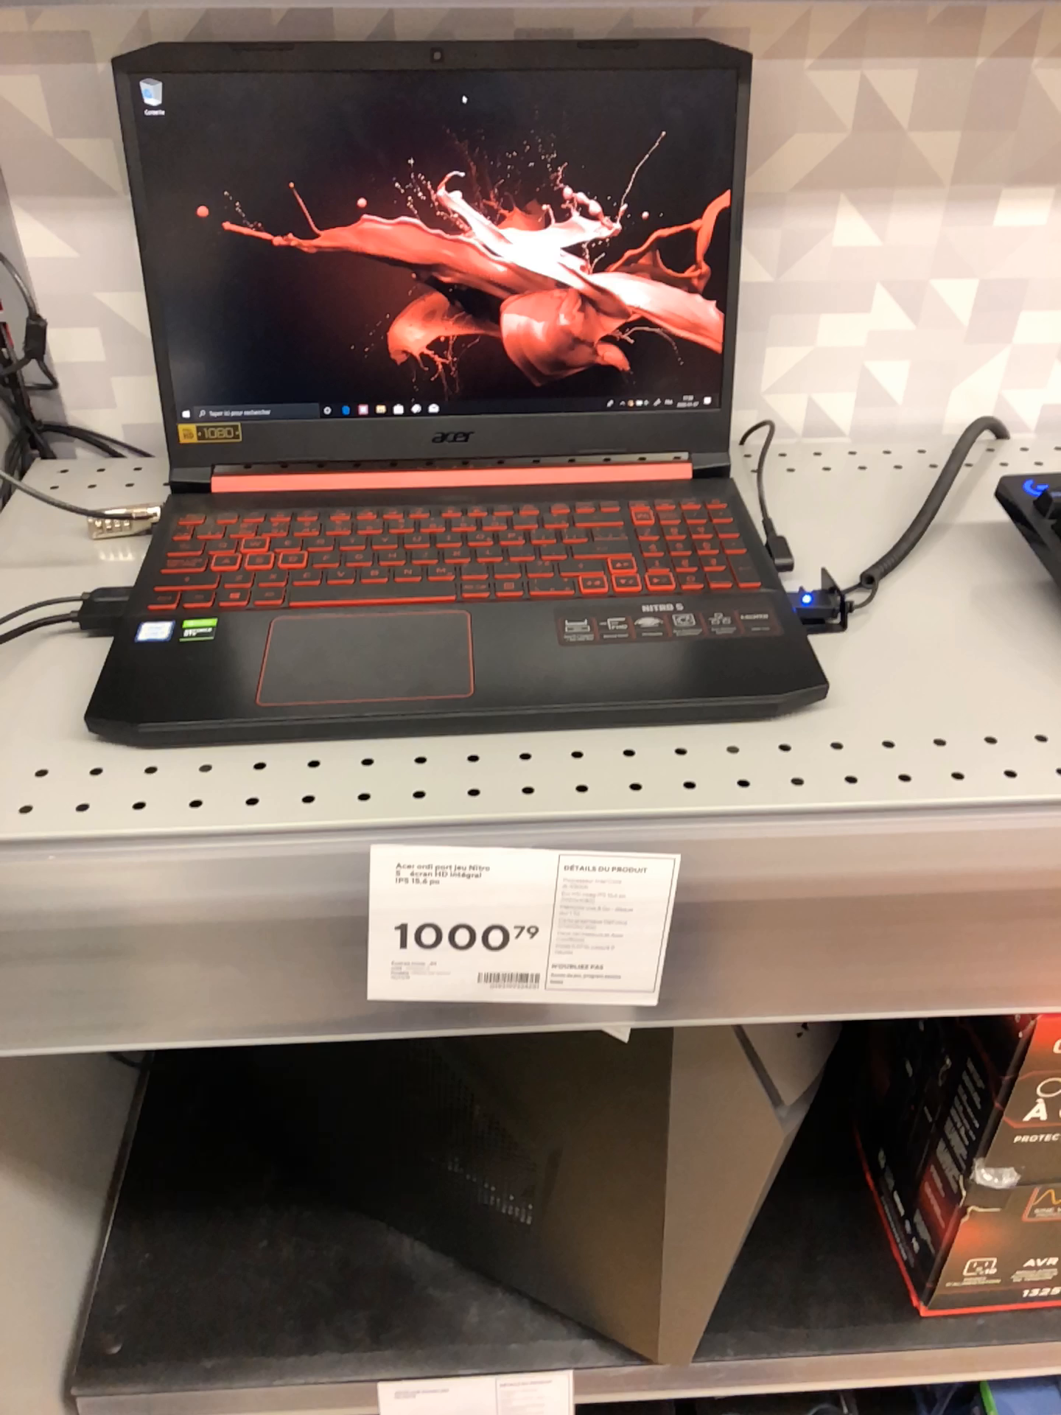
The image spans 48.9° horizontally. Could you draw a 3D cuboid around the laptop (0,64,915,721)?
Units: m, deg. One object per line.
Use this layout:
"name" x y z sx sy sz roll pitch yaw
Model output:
"laptop" -0.040 -0.183 0.625 0.361 0.241 0.282 -3 38 -4
